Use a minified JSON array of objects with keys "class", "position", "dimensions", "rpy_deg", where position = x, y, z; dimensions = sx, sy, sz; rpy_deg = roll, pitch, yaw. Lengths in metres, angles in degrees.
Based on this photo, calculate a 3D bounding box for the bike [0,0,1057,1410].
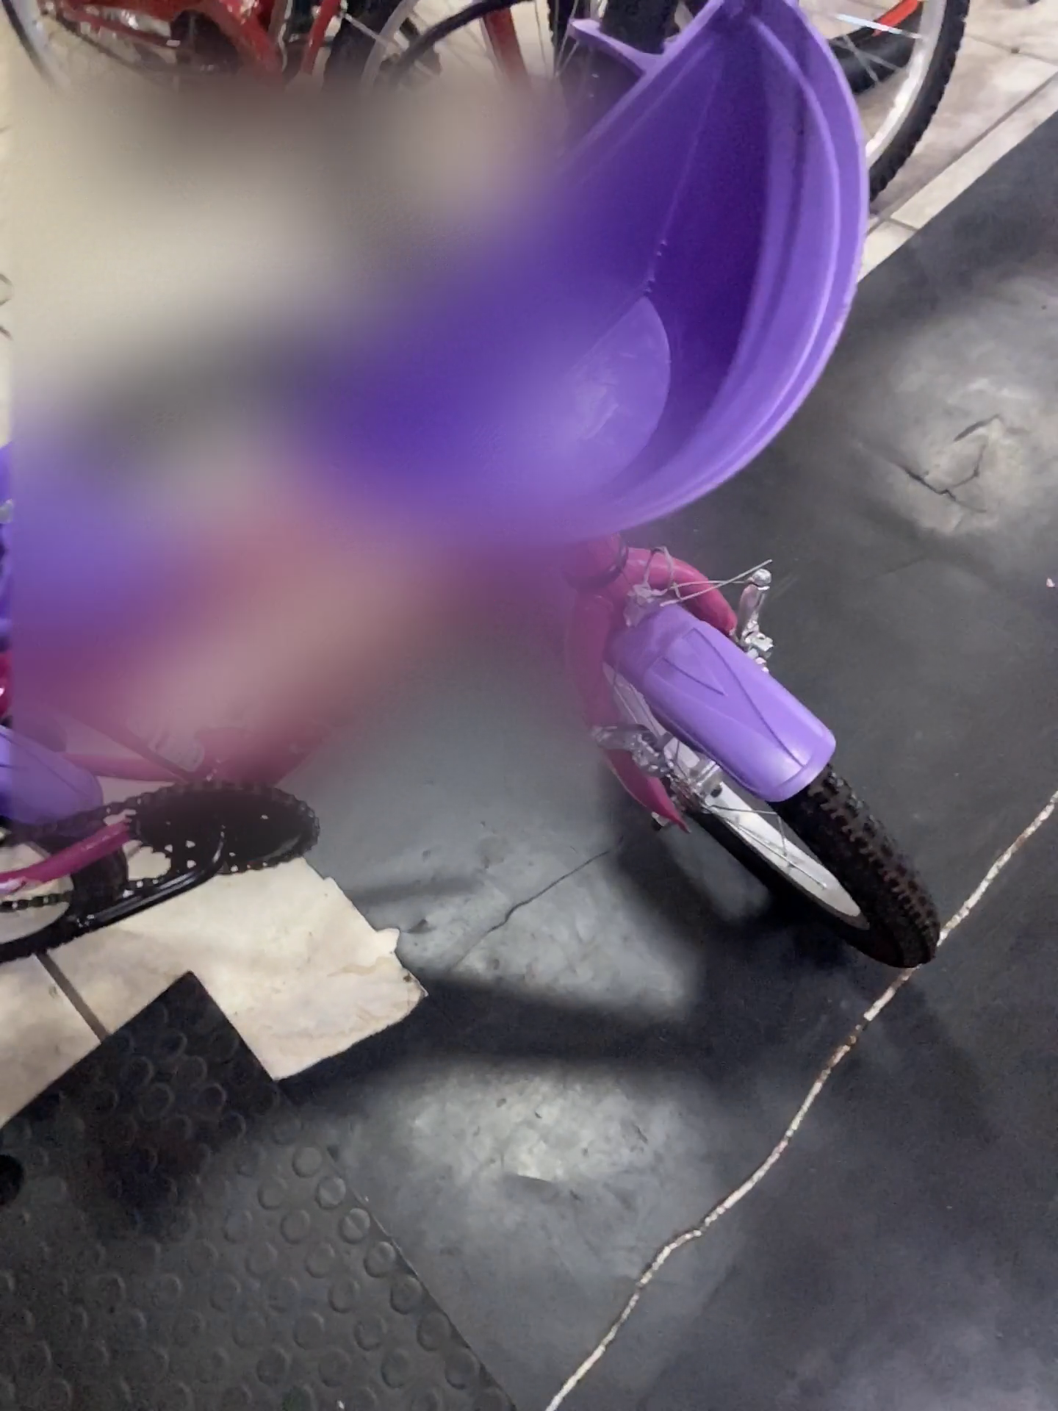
[{"class":"bike","position":[-0.213,0.077,0.609],"dimensions":[0.921,0.703,0.548],"rpy_deg":[0,57,6]}]
